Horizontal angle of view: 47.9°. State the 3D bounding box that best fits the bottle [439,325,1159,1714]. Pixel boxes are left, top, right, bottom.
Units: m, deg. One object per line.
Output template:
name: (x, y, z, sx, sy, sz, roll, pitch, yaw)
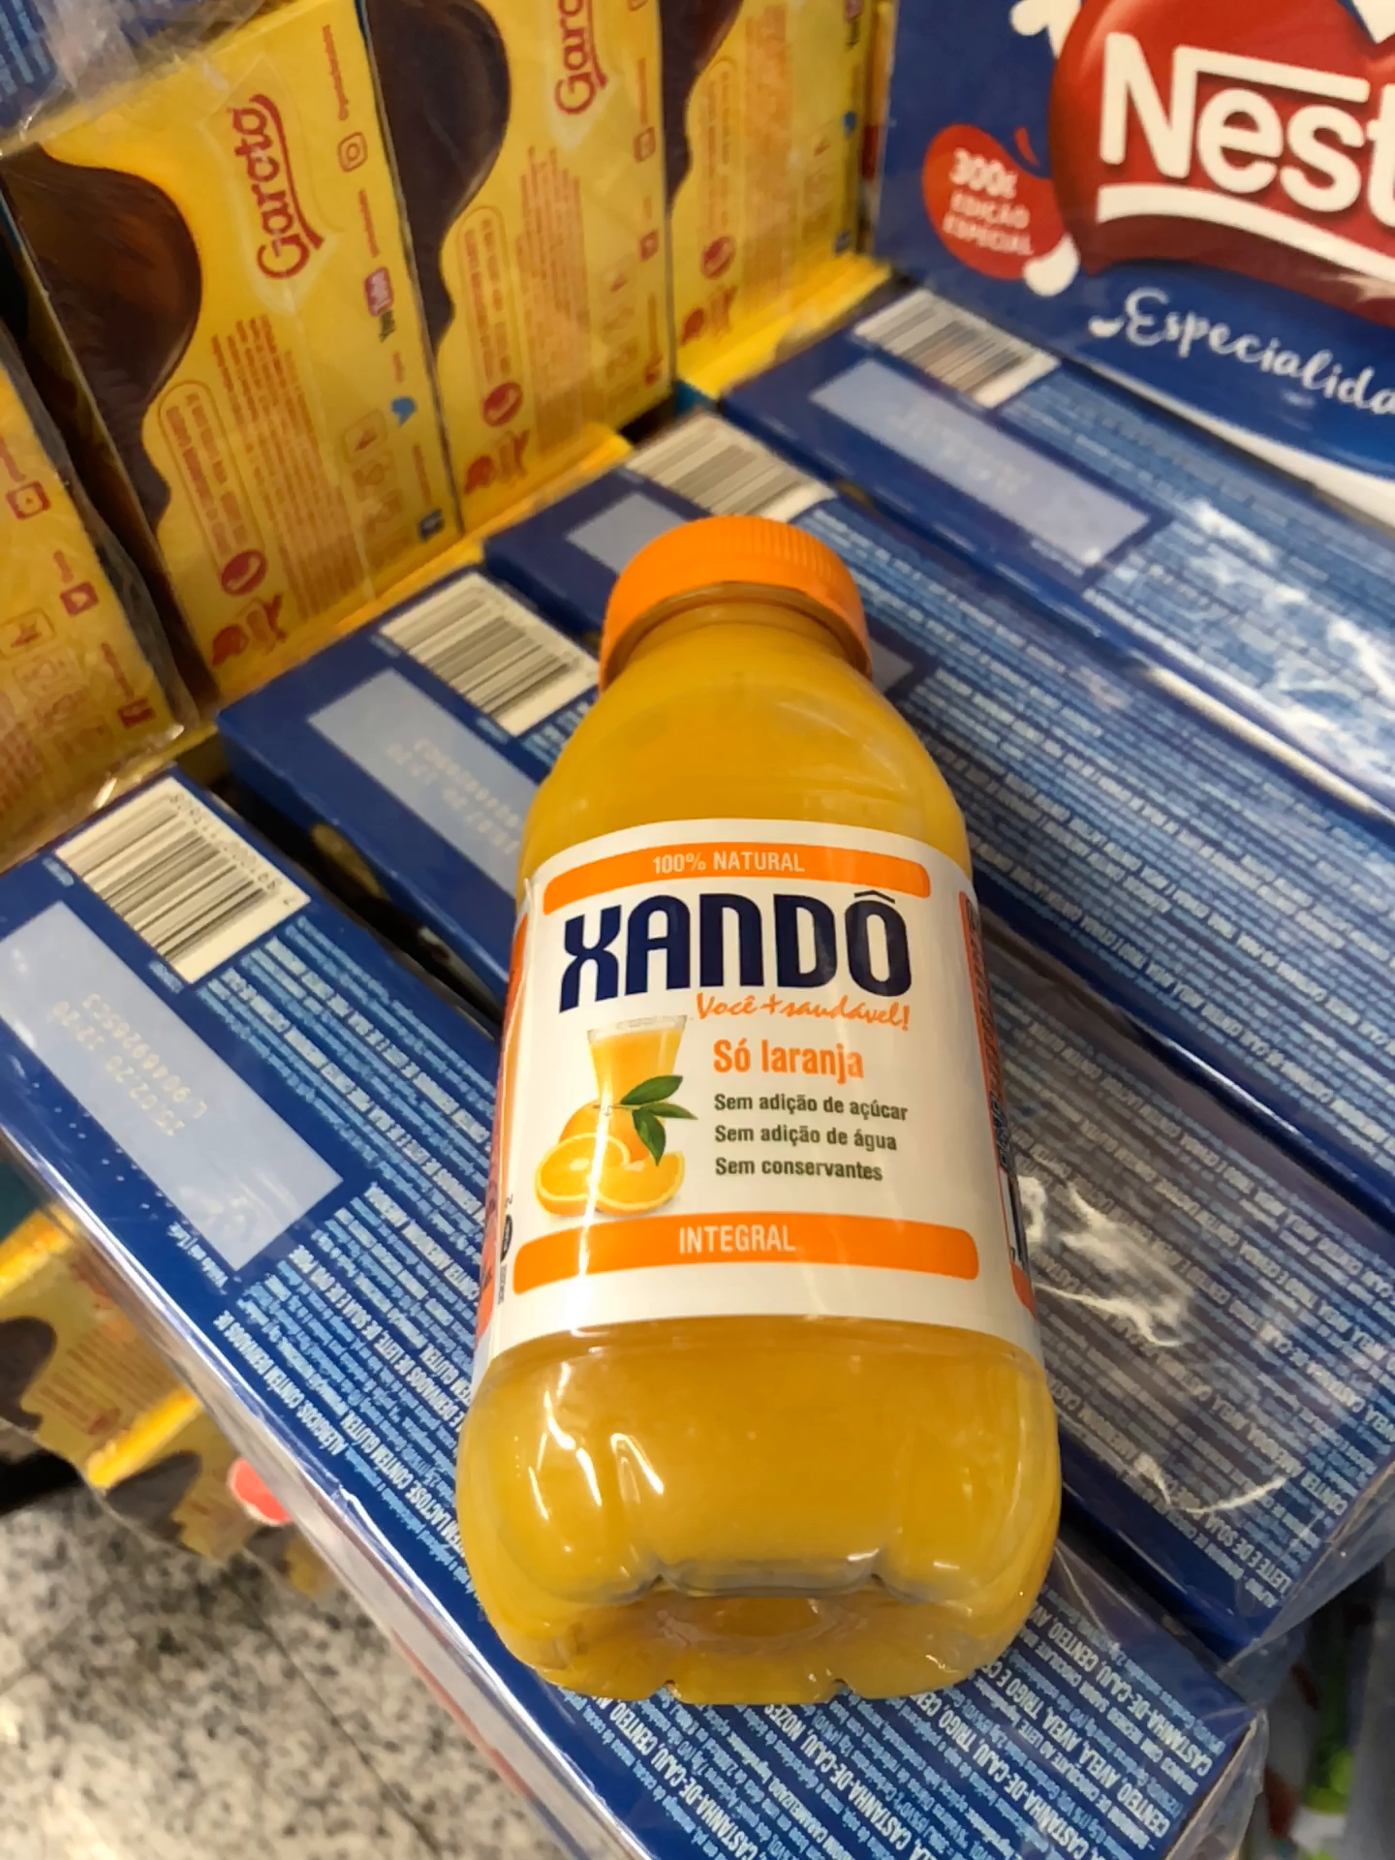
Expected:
bottle: (0.008, 0.005, 0.213, 0.060, 0.080, 0.171, -1, 55, 0)
